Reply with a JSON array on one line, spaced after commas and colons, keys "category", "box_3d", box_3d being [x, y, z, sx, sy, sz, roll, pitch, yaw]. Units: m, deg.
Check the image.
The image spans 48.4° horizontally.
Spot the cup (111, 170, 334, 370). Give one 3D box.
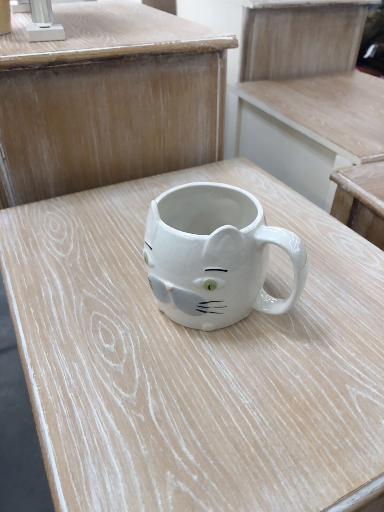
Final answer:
[{"category": "cup", "box_3d": [0.024, 0.003, 0.315, 0.124, 0.073, 0.092, 19, 45, 23]}]
